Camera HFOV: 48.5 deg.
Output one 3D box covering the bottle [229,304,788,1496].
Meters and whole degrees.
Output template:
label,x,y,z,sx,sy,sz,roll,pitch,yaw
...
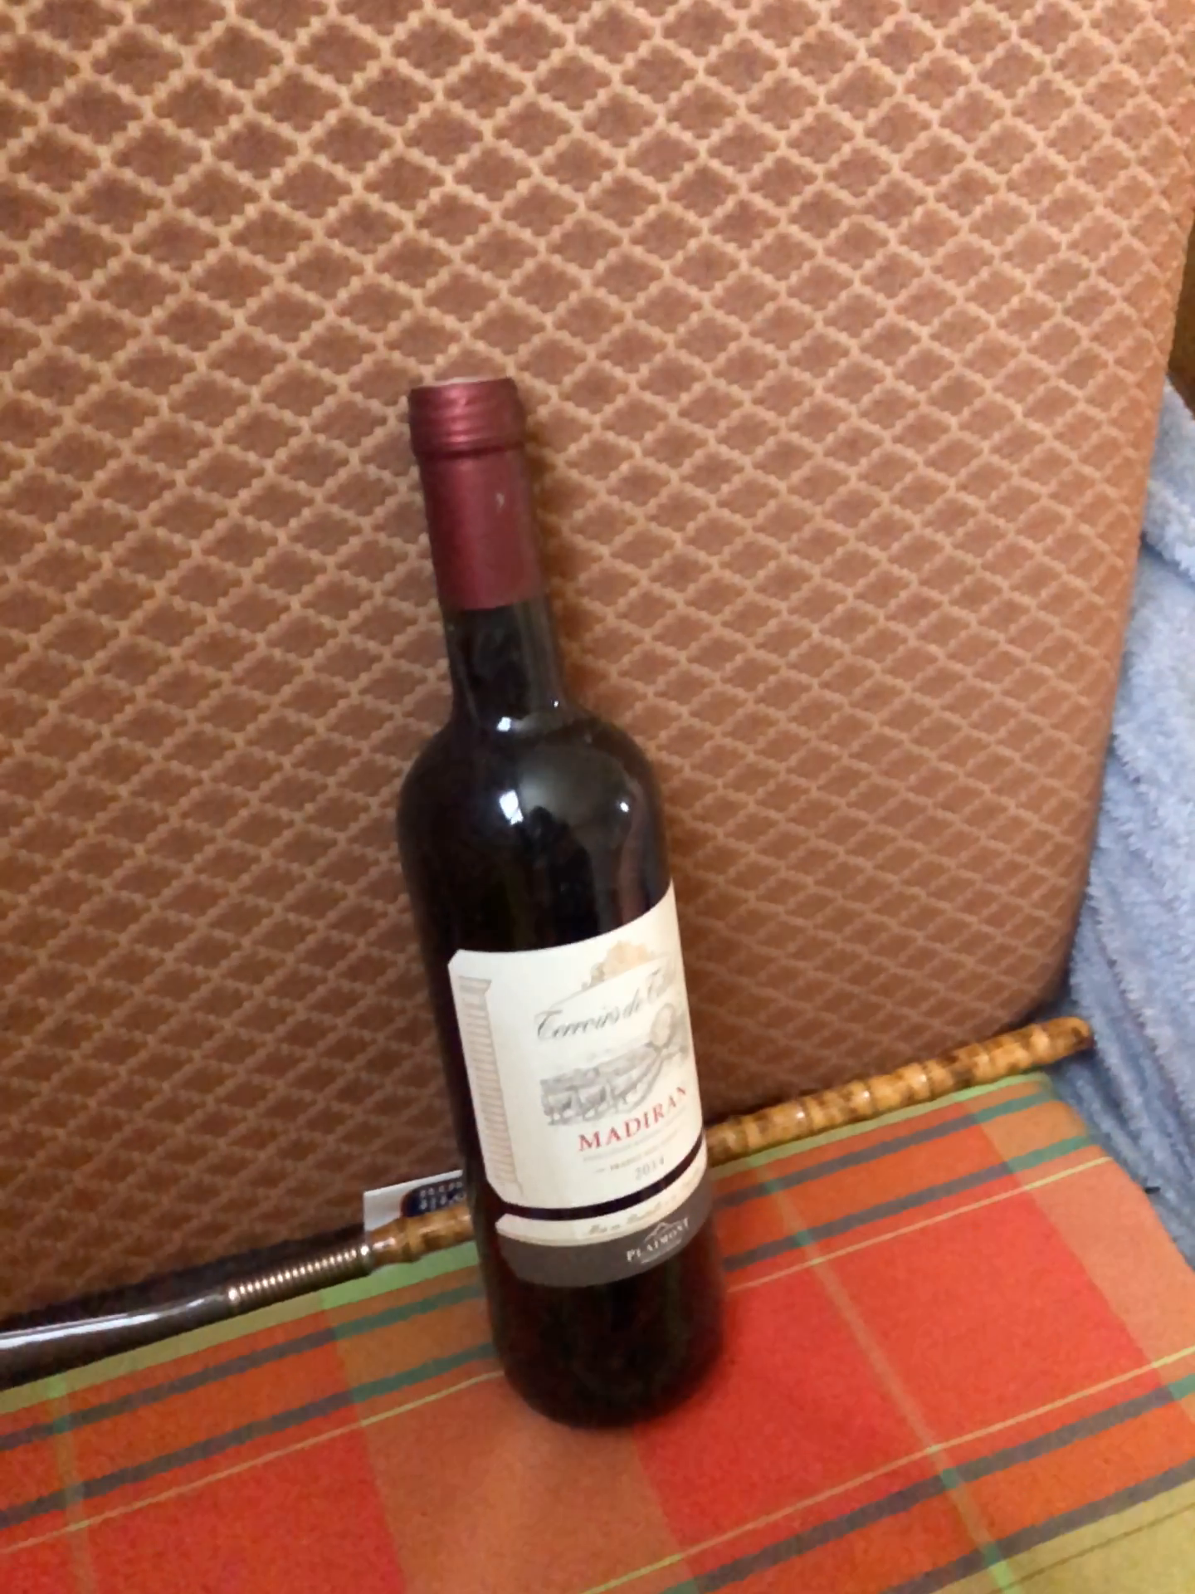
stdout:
label,x,y,z,sx,sy,sz,roll,pitch,yaw
bottle,-0.018,0.029,0.366,0.080,0.299,0.090,-18,23,-26
